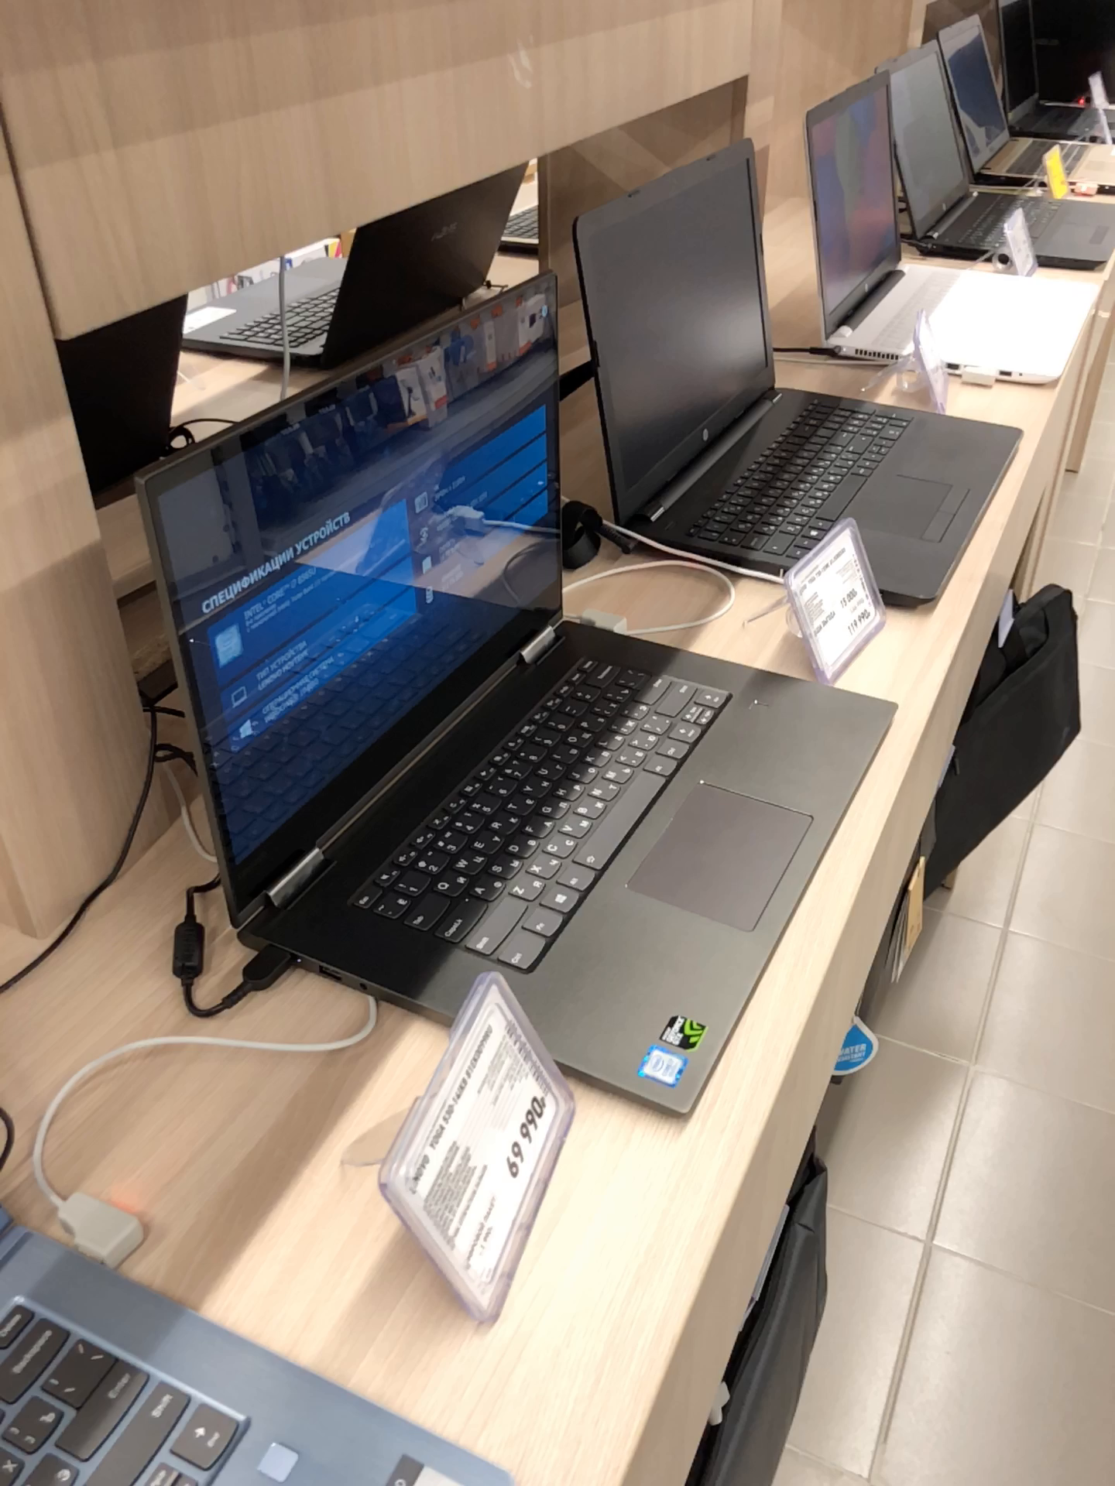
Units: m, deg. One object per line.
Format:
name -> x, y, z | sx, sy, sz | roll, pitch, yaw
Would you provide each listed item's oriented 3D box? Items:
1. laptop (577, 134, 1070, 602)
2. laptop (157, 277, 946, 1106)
laptop -> 0.213, -0.335, 1.018 | 0.308, 0.238, 0.307 | 18, 41, 28
laptop -> 0.025, -0.067, 0.661 | 0.252, 0.240, 0.360 | 17, 38, 23
